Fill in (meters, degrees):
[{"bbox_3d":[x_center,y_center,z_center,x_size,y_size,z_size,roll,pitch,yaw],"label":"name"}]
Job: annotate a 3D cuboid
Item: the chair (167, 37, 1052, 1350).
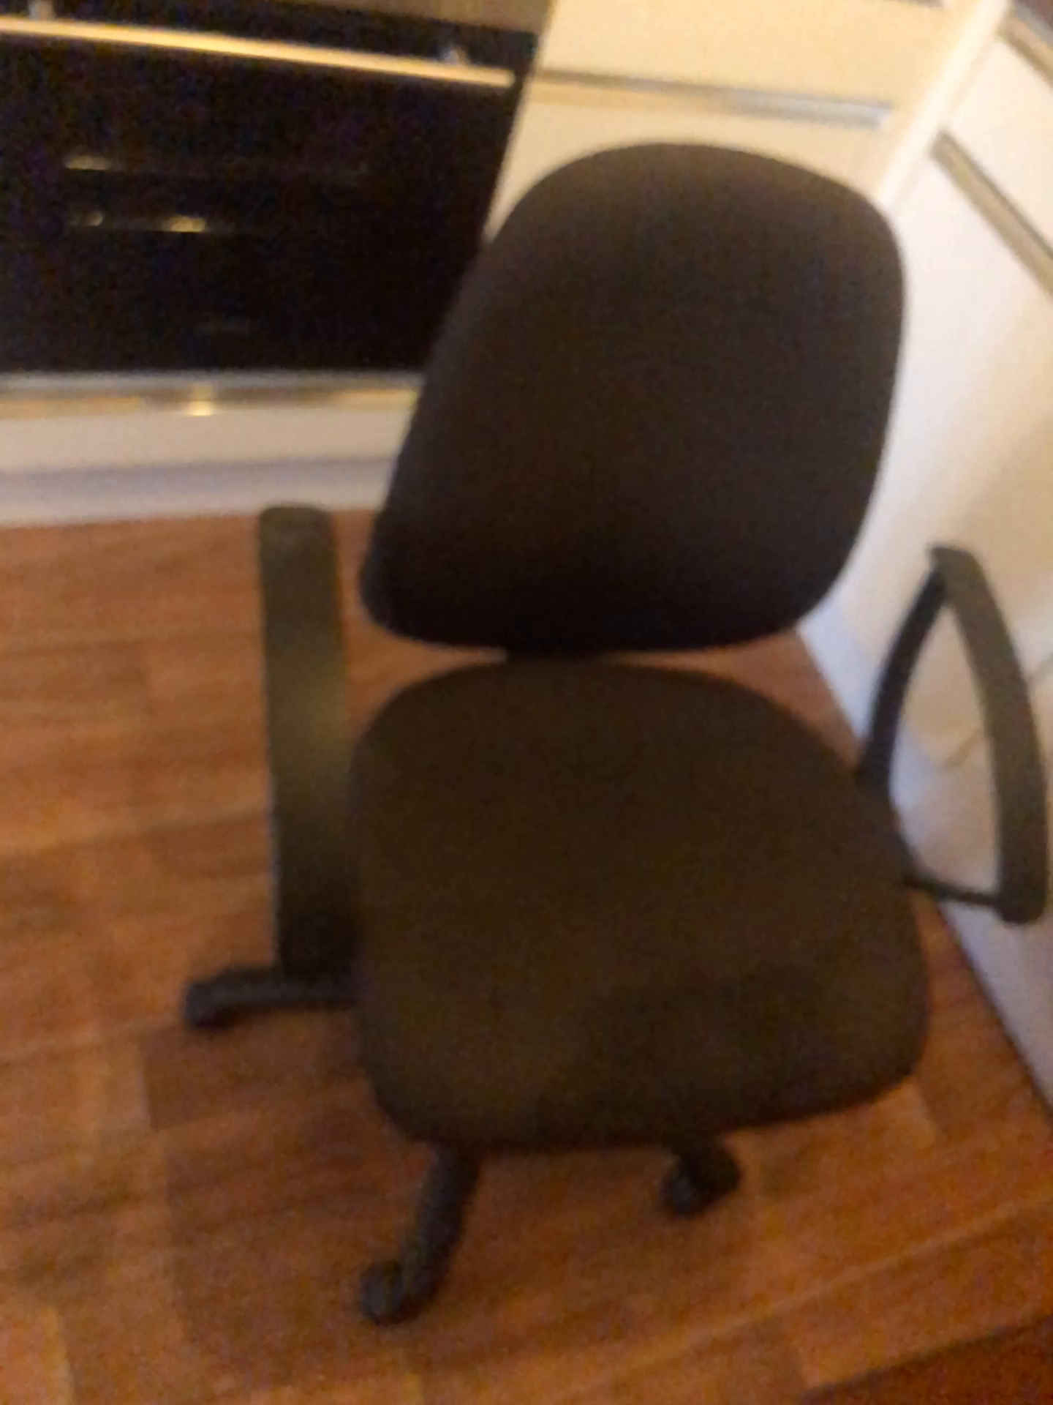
[{"bbox_3d":[0.073,0.078,1.020,0.674,0.816,0.655,3,53,-18],"label":"chair"}]
